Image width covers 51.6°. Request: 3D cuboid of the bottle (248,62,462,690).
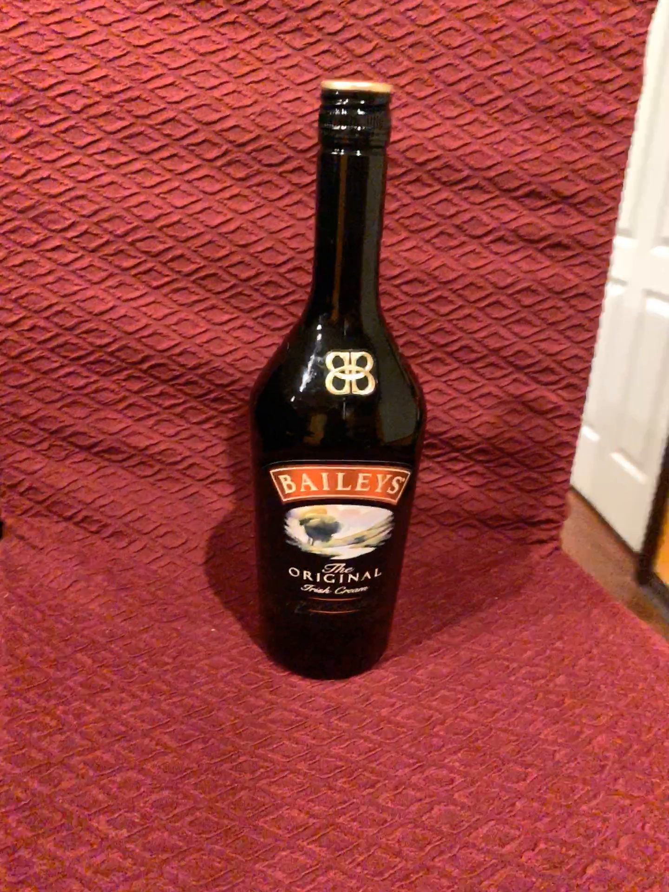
[{"bbox_3d":[0.000,-0.020,0.343,0.080,0.289,0.070,0,22,-5],"label":"bottle"}]
